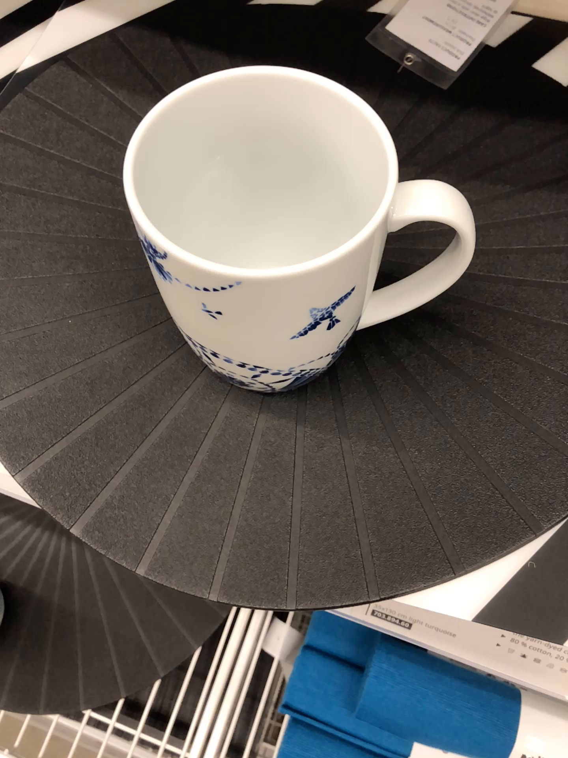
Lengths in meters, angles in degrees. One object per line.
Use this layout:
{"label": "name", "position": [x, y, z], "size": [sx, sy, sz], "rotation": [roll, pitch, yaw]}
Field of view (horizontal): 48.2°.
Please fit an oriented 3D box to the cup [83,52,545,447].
{"label": "cup", "position": [0.014, -0.044, 0.244], "size": [0.130, 0.100, 0.100], "rotation": [5, 65, 5]}
